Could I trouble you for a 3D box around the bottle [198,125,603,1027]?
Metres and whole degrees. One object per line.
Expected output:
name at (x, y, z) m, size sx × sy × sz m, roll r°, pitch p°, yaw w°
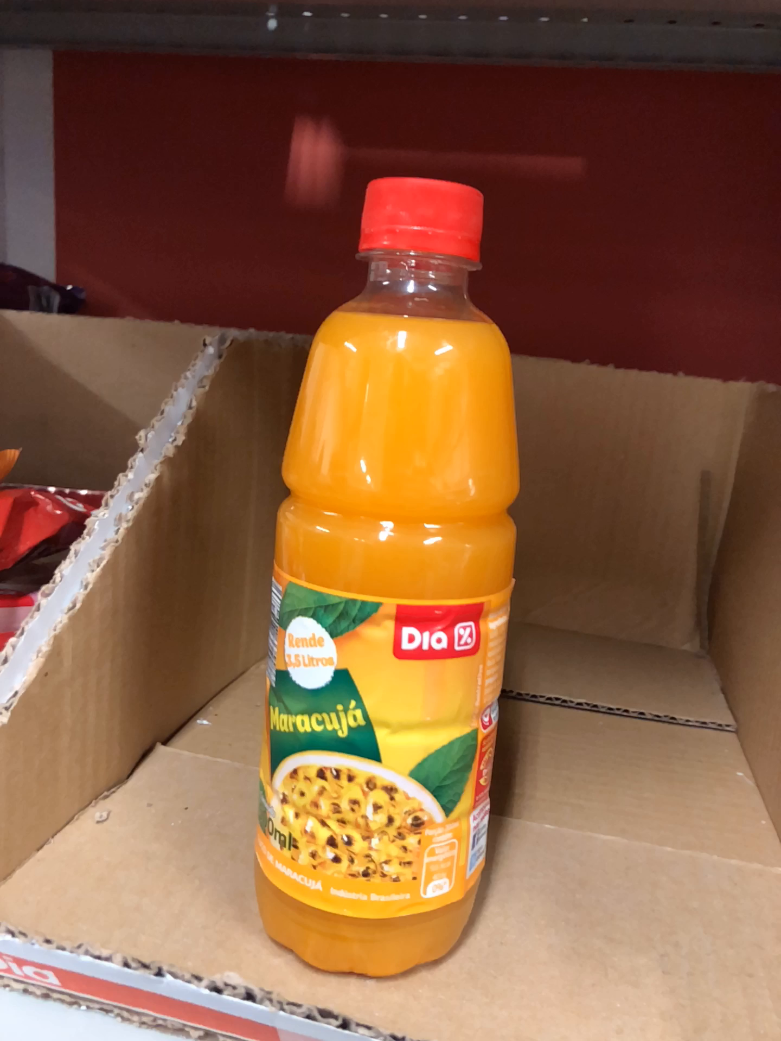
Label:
bottle at (0.002, 0.011, 0.230) m, size 0.070 × 0.199 × 0.070 m, roll 4°, pitch 11°, yaw -1°
